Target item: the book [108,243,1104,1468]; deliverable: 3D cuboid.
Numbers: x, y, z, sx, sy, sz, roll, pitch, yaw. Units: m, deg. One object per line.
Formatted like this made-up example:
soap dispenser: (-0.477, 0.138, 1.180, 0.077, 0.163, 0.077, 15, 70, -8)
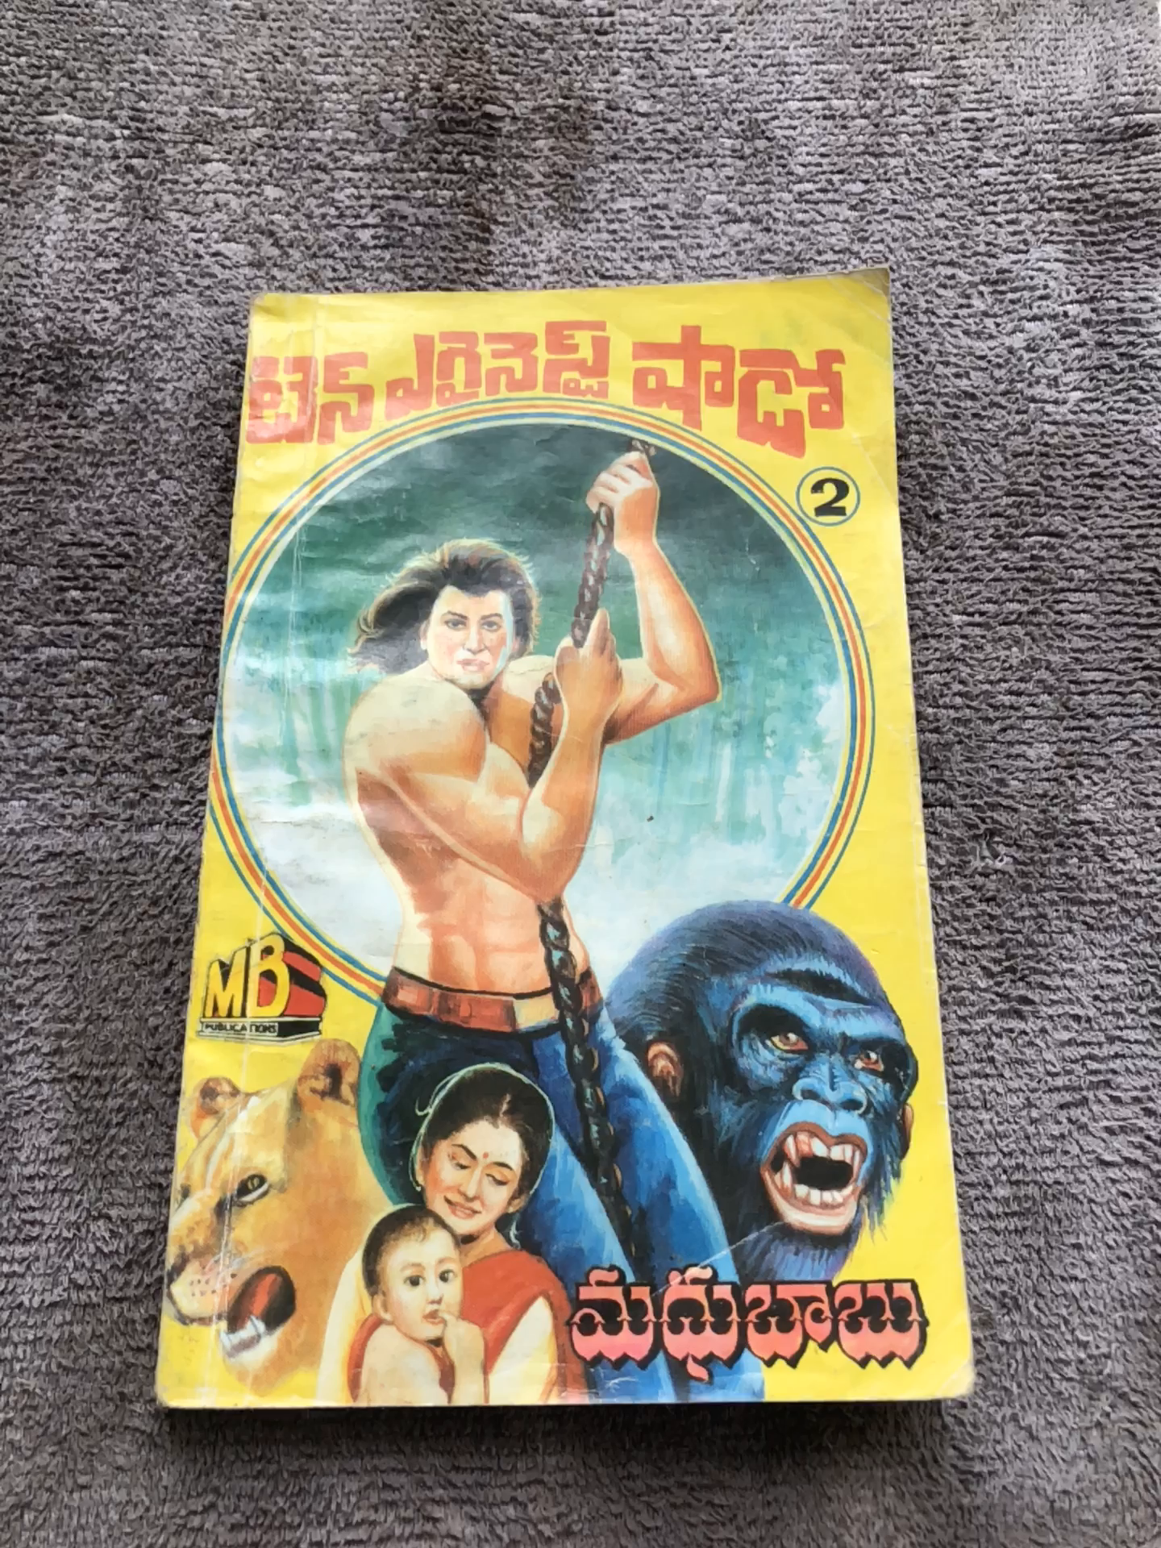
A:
book: (0.002, 0.002, 0.178, 0.110, 0.020, 0.160, 0, 72, -3)
